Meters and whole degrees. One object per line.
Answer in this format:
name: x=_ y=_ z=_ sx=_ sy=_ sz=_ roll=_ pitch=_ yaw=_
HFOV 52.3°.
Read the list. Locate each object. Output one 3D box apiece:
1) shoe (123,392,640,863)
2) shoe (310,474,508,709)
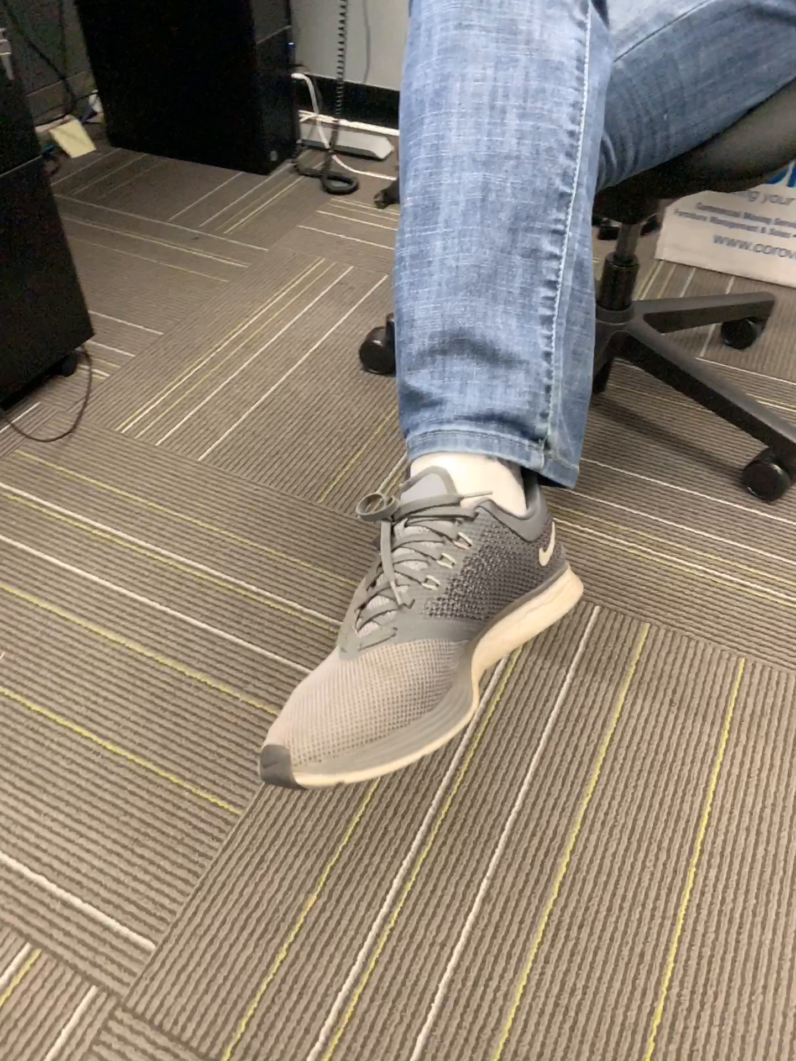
shoe: x=0.008 y=0.042 z=0.519 sx=0.296 sy=0.142 sz=0.122 roll=-34 pitch=13 yaw=-39
shoe: x=0.020 y=0.062 z=0.967 sx=0.120 sy=0.085 sz=0.270 roll=21 pitch=48 yaw=18
